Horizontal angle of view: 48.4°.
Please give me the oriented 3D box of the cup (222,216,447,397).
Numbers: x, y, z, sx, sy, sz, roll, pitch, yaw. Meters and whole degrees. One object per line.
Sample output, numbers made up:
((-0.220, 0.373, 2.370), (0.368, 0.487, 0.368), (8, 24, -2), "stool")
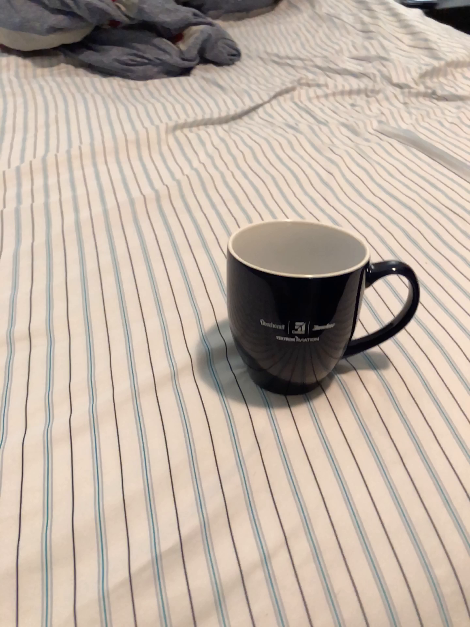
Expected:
((0.058, -0.007, 0.365), (0.130, 0.090, 0.090), (1, 34, 1), "cup")
